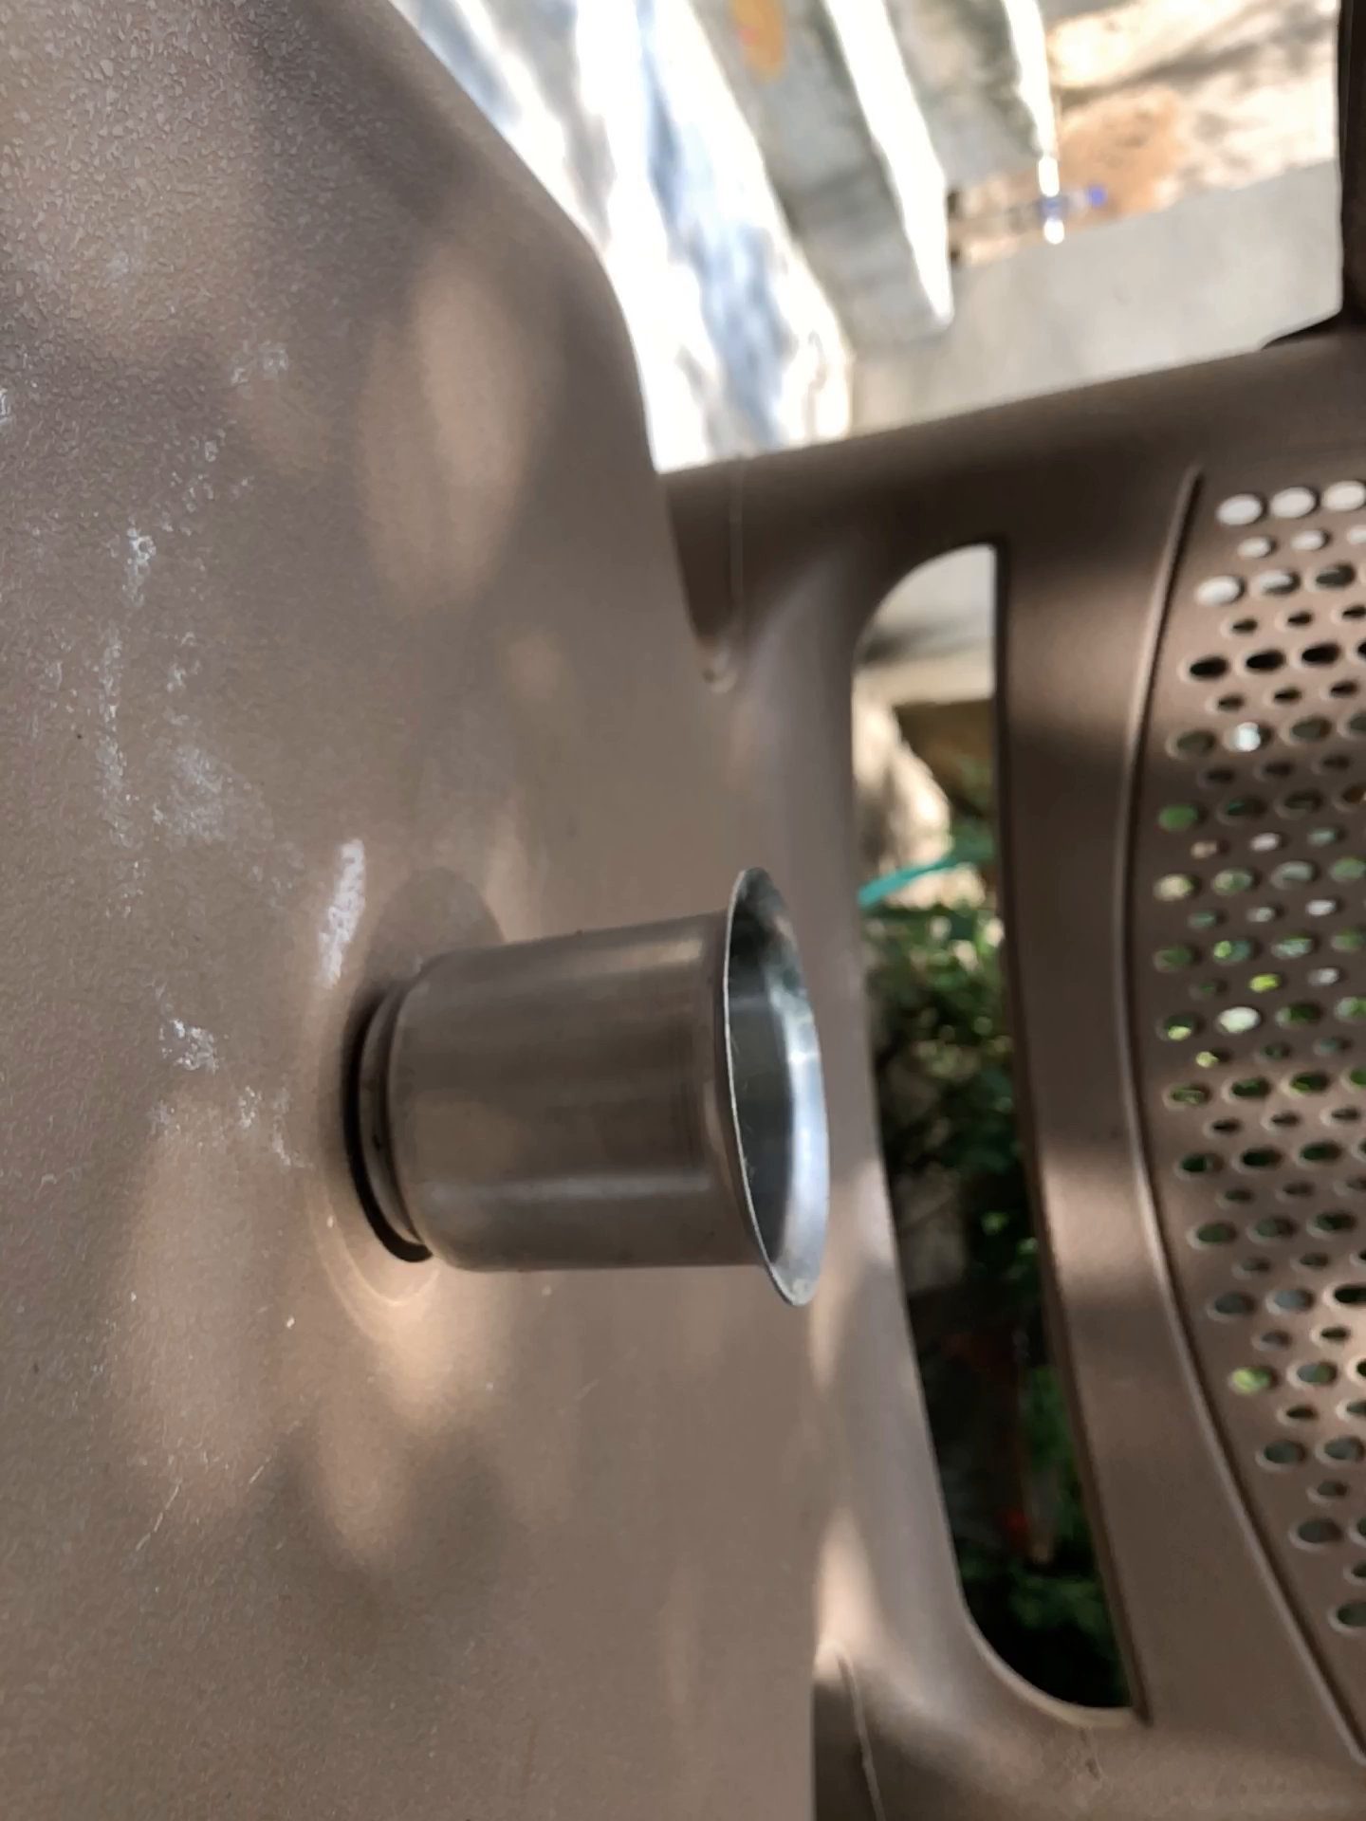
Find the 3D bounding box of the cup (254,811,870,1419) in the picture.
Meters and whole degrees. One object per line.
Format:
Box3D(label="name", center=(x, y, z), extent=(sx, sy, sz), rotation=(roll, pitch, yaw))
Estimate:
Box3D(label="cup", center=(-0.012, 0.032, 0.229), extent=(0.060, 0.060, 0.060), rotation=(-9, 90, -69))
